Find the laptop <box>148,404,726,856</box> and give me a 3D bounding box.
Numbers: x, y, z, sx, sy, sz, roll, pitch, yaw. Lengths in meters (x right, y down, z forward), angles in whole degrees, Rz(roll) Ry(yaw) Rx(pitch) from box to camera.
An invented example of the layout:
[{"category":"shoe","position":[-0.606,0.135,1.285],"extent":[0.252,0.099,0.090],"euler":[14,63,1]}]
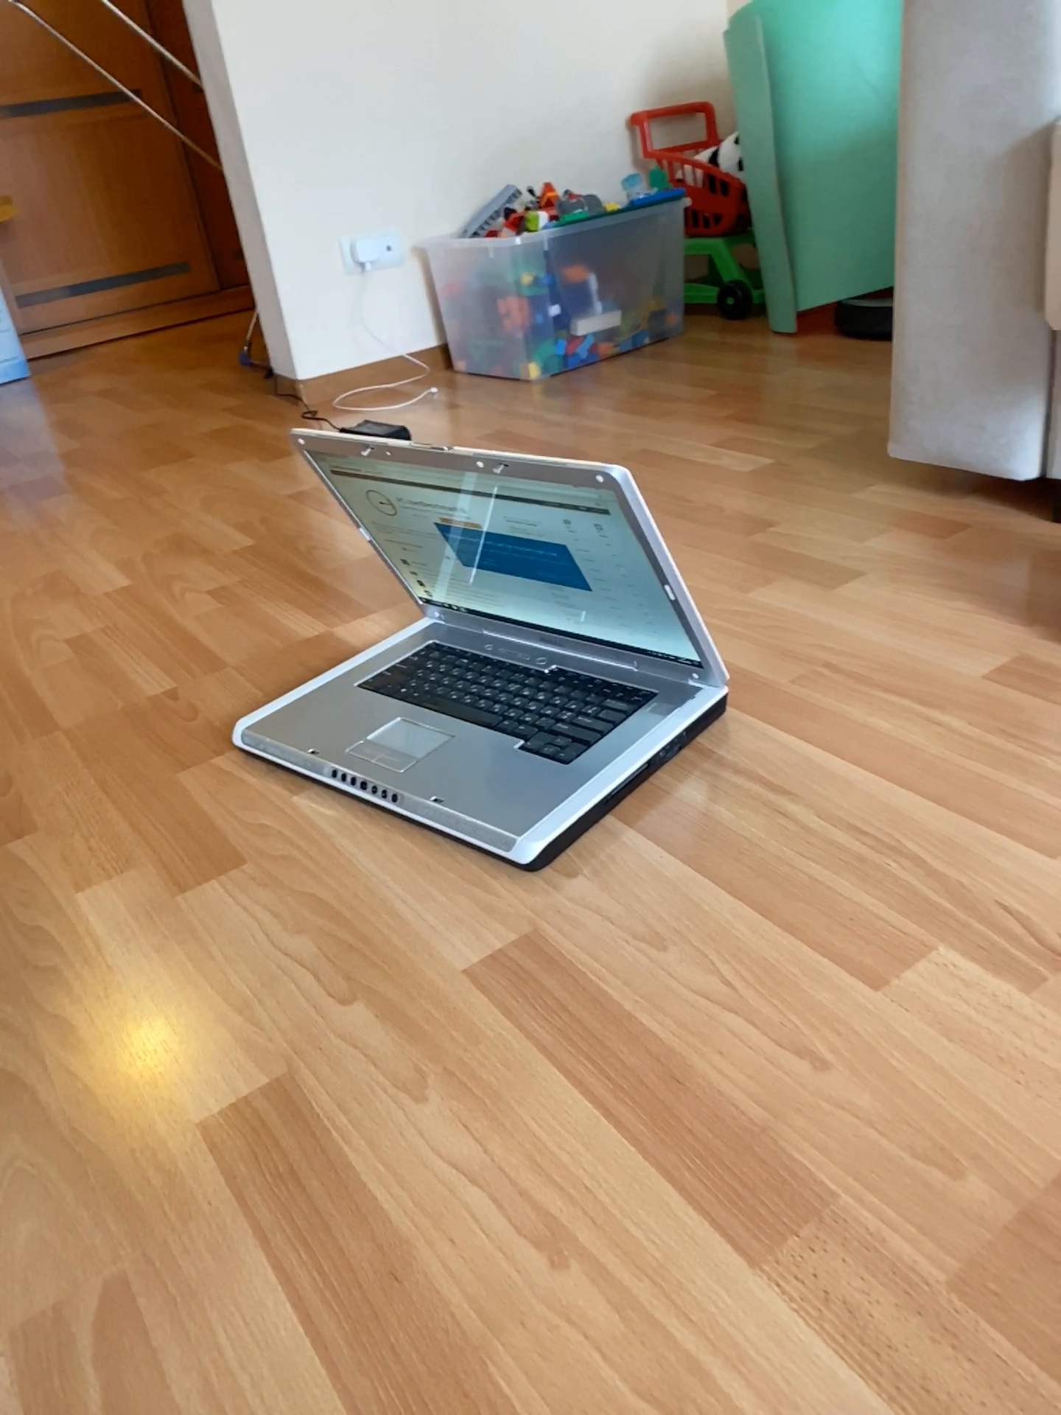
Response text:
[{"category":"laptop","position":[-0.075,-0.099,0.937],"extent":[0.387,0.238,0.274],"euler":[16,36,38]}]
